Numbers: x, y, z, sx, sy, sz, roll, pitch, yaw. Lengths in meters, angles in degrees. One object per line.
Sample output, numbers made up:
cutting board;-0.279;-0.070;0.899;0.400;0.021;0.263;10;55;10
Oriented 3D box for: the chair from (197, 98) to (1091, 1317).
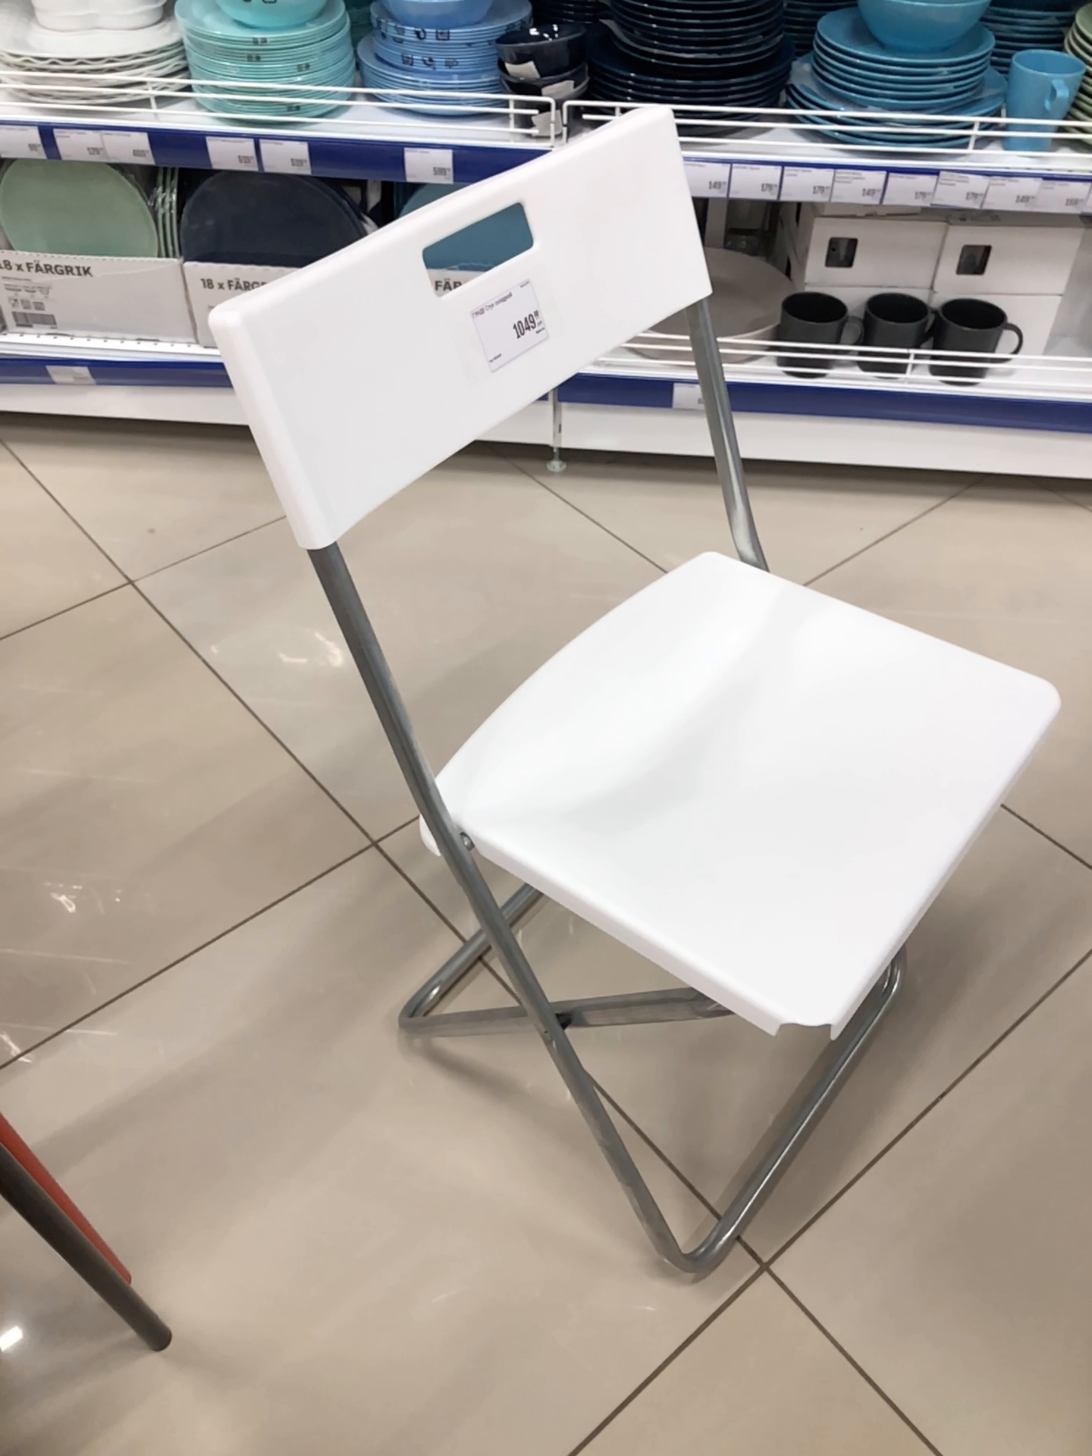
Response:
chair;0.112;0.005;0.914;0.431;0.710;0.427;30;52;26
